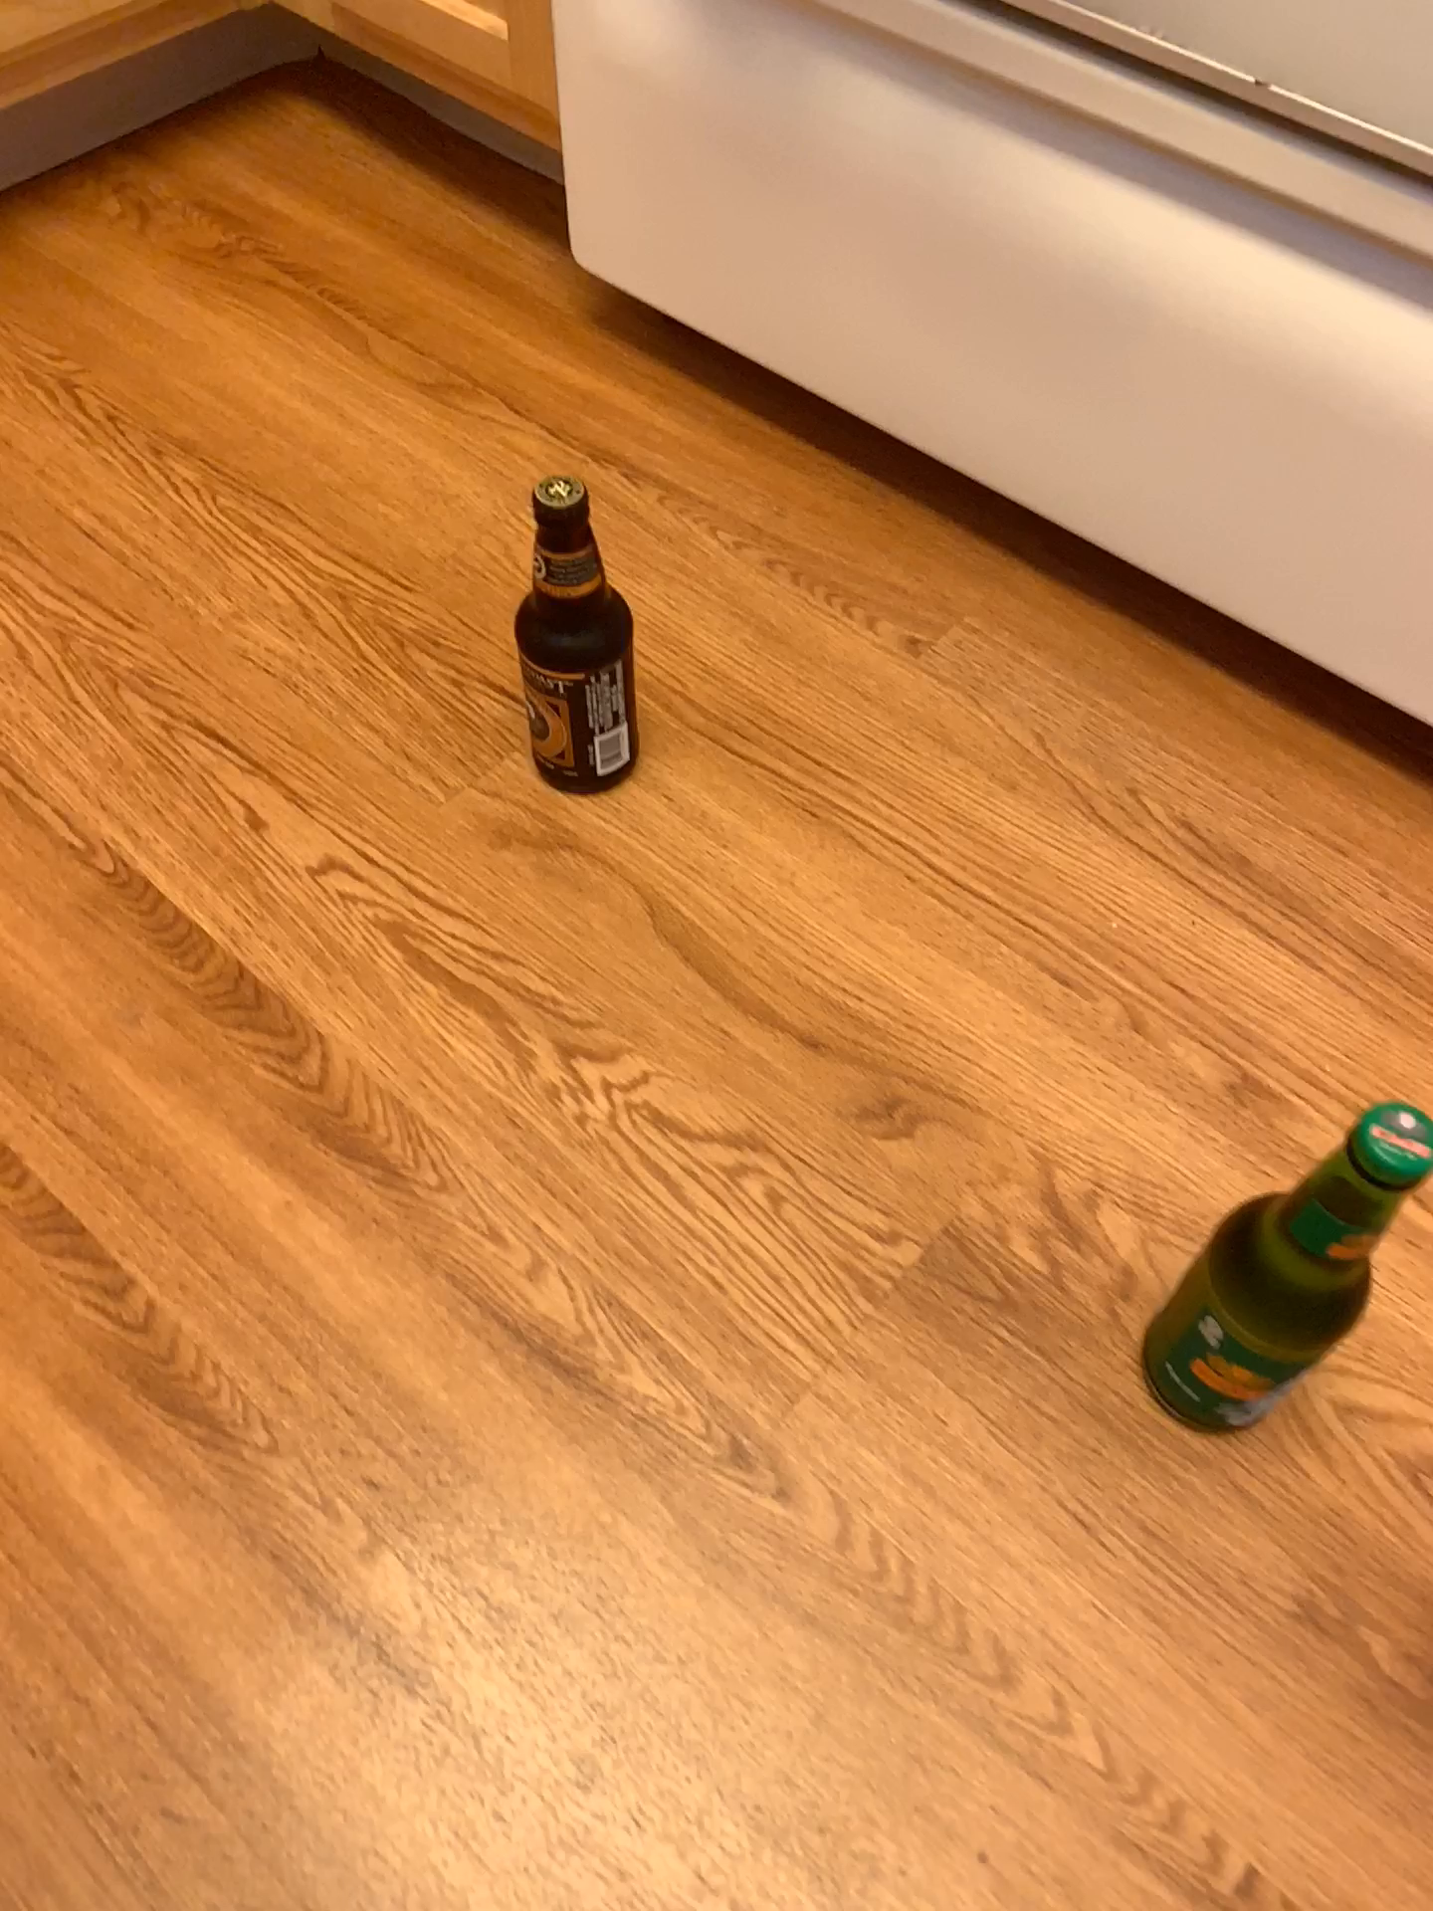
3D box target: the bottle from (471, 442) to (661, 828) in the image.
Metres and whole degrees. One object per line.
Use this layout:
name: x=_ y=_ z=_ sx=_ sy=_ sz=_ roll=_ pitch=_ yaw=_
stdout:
bottle: x=-0.075 y=-0.163 z=0.777 sx=0.060 sy=0.189 sz=0.070 roll=-31 pitch=62 yaw=-20

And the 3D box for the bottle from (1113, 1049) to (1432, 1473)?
bottle: x=0.223 y=0.128 z=0.566 sx=0.060 sy=0.219 sz=0.060 roll=1 pitch=56 yaw=-1
